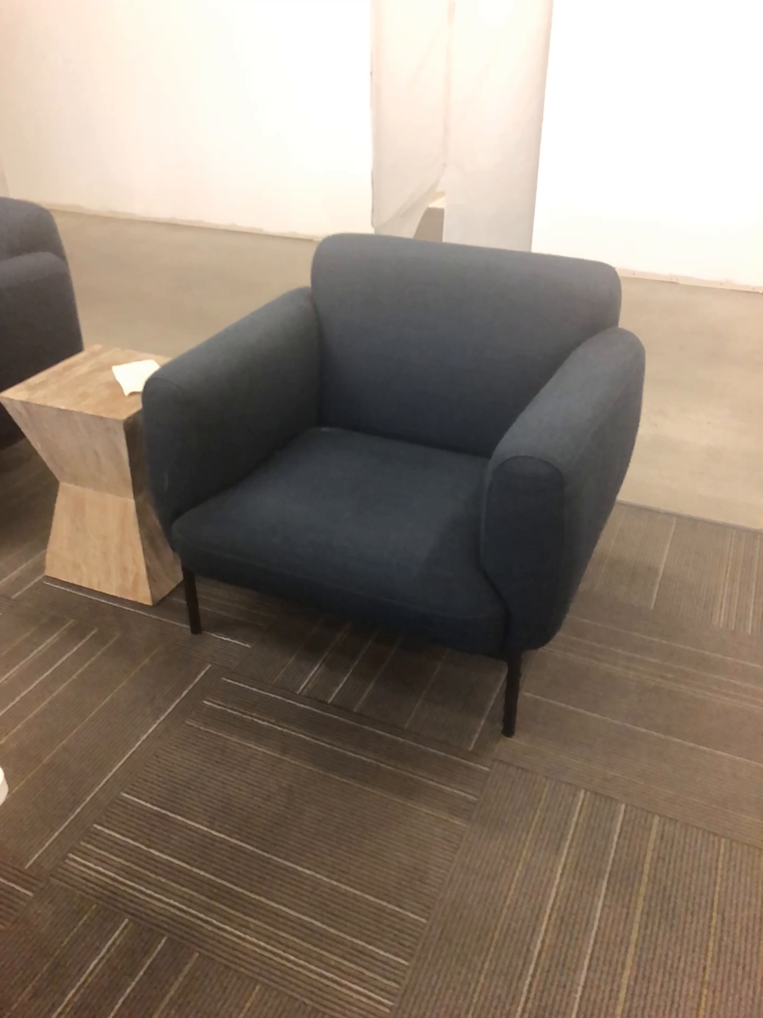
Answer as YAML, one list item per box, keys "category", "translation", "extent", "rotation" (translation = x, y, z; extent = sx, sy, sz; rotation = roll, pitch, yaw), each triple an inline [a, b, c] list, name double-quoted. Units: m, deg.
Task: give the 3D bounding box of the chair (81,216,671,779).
- category: "chair"
  translation: [0.052, -0.123, 1.870]
  extent: [0.920, 0.783, 0.847]
  rotation: [12, 33, 19]
